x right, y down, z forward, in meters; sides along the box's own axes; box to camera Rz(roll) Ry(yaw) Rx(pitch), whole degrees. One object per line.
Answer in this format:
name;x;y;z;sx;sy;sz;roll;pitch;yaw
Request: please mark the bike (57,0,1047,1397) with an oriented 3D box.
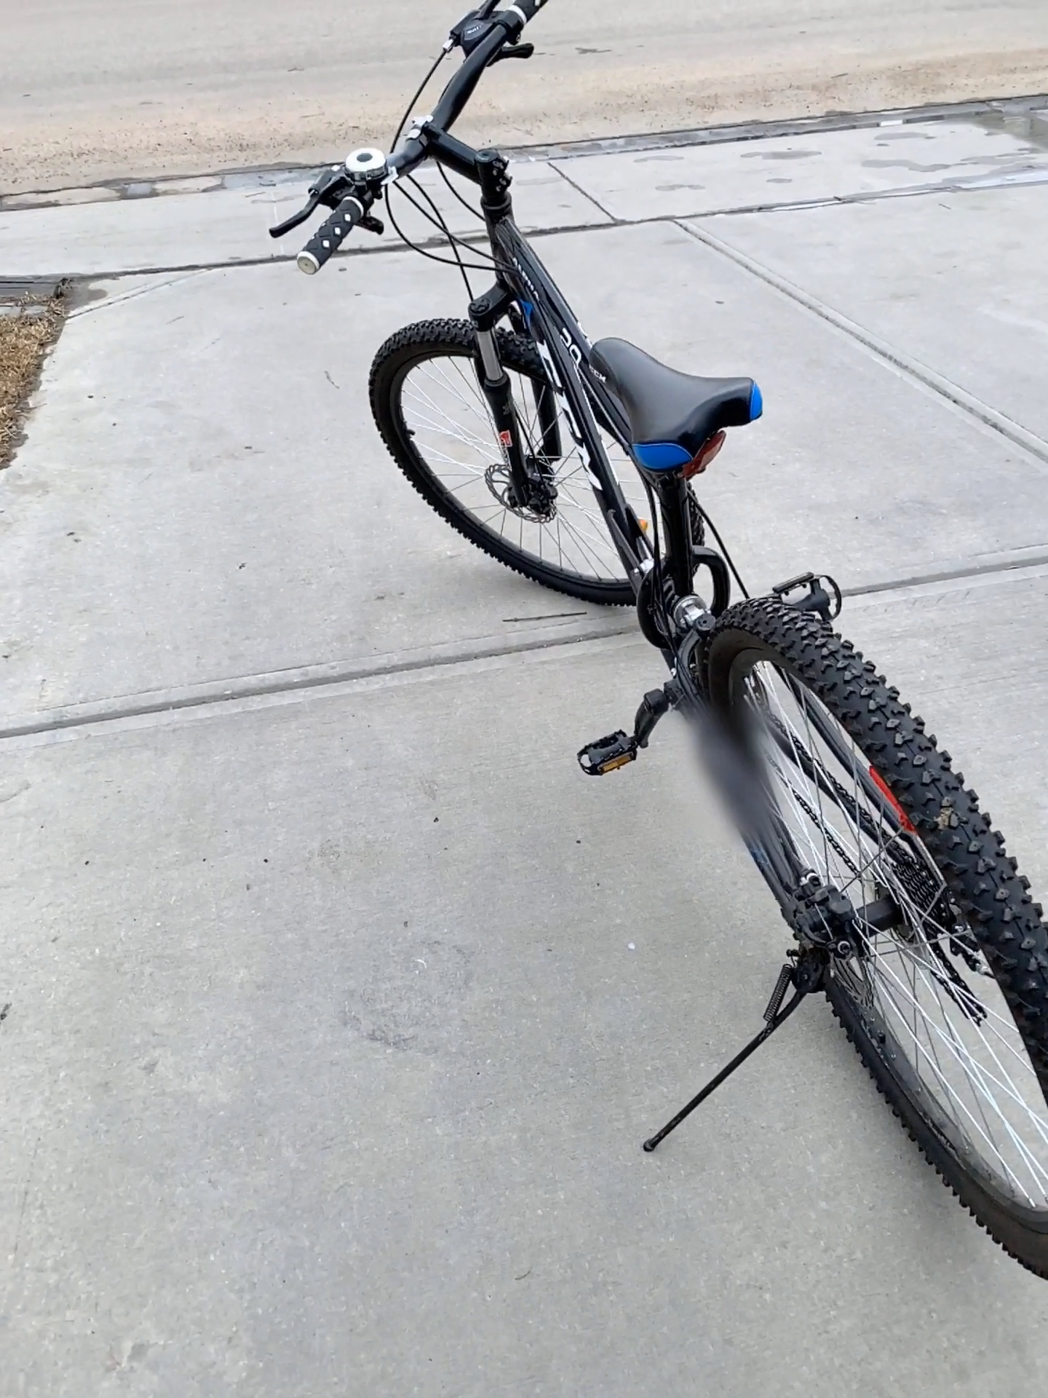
bike;0.027;-0.167;1.374;0.628;1.173;1.797;-18;43;-18
